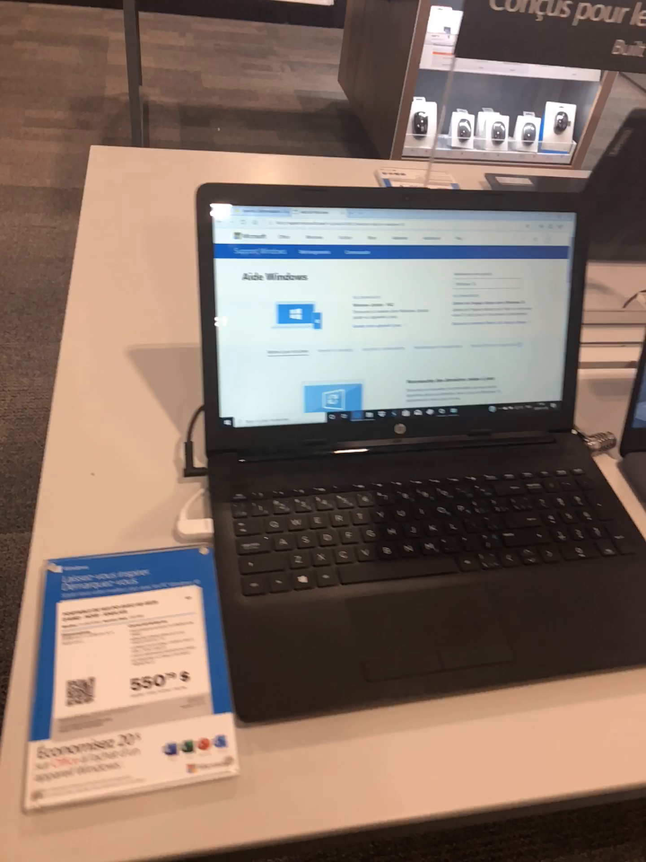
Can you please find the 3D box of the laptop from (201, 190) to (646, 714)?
[{"bbox_3d":[0.098,-0.017,0.564,0.356,0.195,0.360,-3,44,-12],"label":"laptop"}]
